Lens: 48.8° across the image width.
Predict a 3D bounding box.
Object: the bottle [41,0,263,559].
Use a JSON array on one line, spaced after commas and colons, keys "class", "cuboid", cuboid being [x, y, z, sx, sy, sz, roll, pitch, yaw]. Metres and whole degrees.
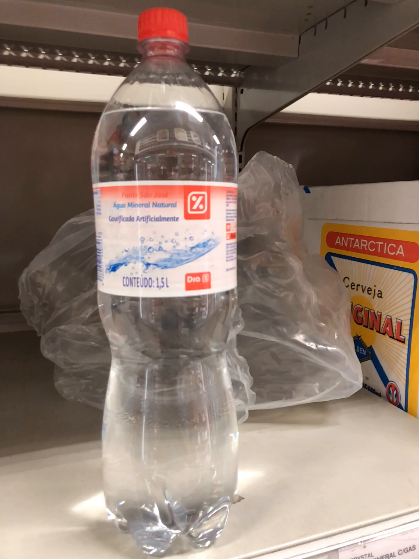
[{"class": "bottle", "cuboid": [-0.022, -0.007, 0.290, 0.100, 0.319, 0.100, 0, 10, 0]}]
